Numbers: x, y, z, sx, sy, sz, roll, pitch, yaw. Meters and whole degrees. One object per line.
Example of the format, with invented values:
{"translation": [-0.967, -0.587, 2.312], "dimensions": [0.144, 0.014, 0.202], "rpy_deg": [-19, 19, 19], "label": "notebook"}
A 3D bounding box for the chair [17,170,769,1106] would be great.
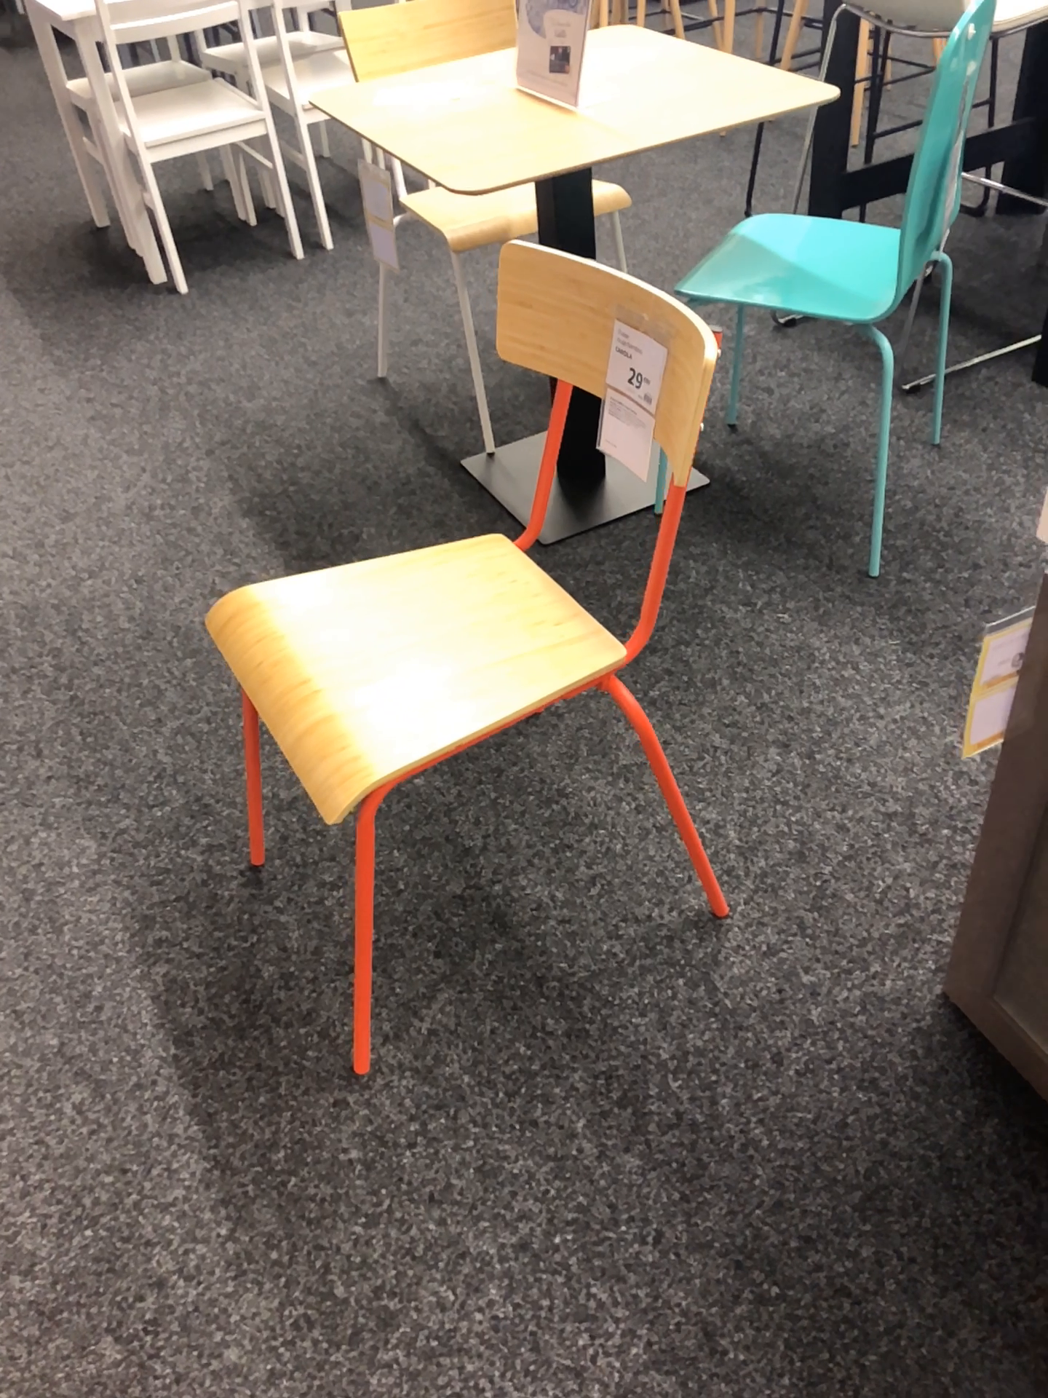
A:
{"translation": [-0.113, -0.071, 1.342], "dimensions": [0.561, 0.815, 0.502], "rpy_deg": [-23, 43, -18], "label": "chair"}
